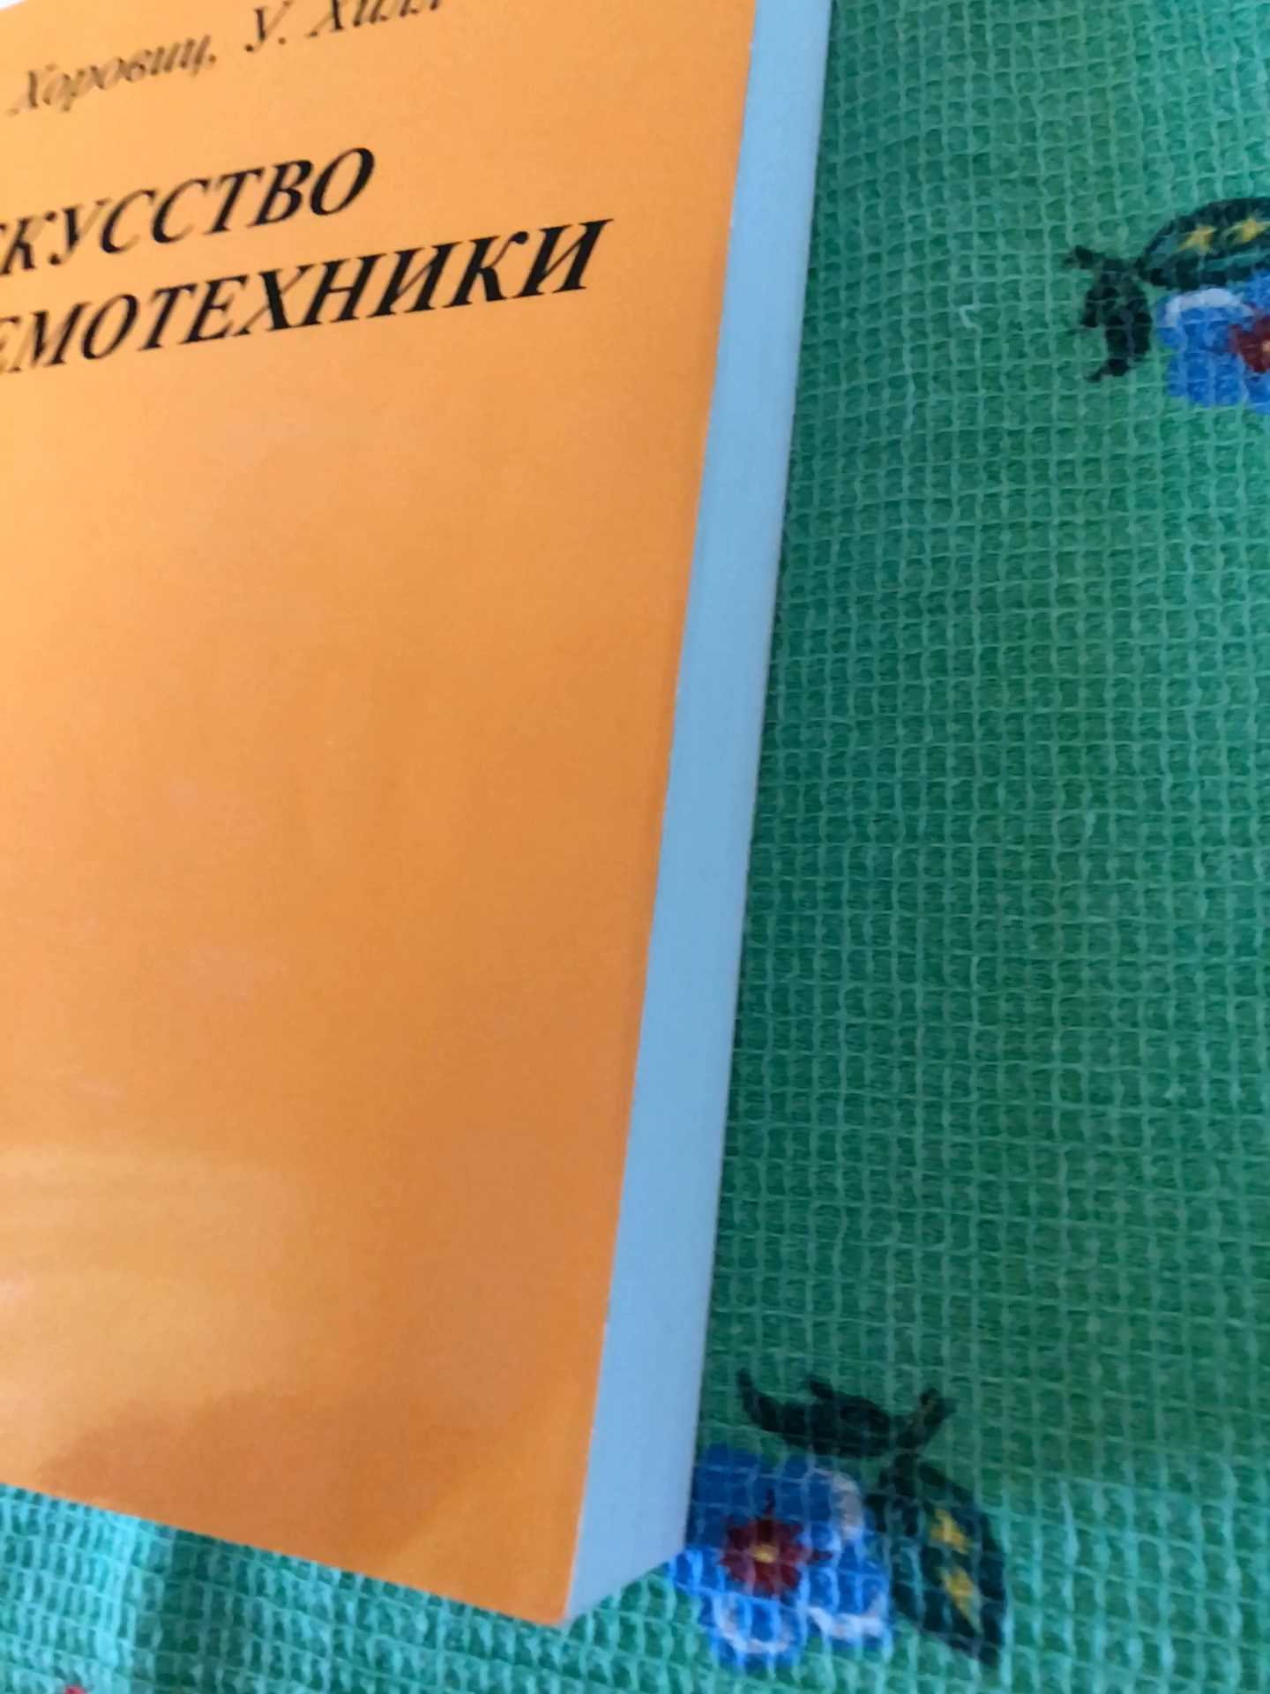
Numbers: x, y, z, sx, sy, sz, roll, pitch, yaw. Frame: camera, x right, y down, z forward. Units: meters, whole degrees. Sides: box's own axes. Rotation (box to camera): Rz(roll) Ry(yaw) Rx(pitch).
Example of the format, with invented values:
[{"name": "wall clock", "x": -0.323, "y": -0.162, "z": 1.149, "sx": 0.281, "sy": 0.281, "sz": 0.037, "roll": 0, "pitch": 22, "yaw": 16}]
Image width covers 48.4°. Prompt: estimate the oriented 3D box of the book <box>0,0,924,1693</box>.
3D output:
[{"name": "book", "x": -0.057, "y": -0.035, "z": 0.228, "sx": 0.180, "sy": 0.050, "sz": 0.261, "roll": 0, "pitch": 70, "yaw": 22}]
